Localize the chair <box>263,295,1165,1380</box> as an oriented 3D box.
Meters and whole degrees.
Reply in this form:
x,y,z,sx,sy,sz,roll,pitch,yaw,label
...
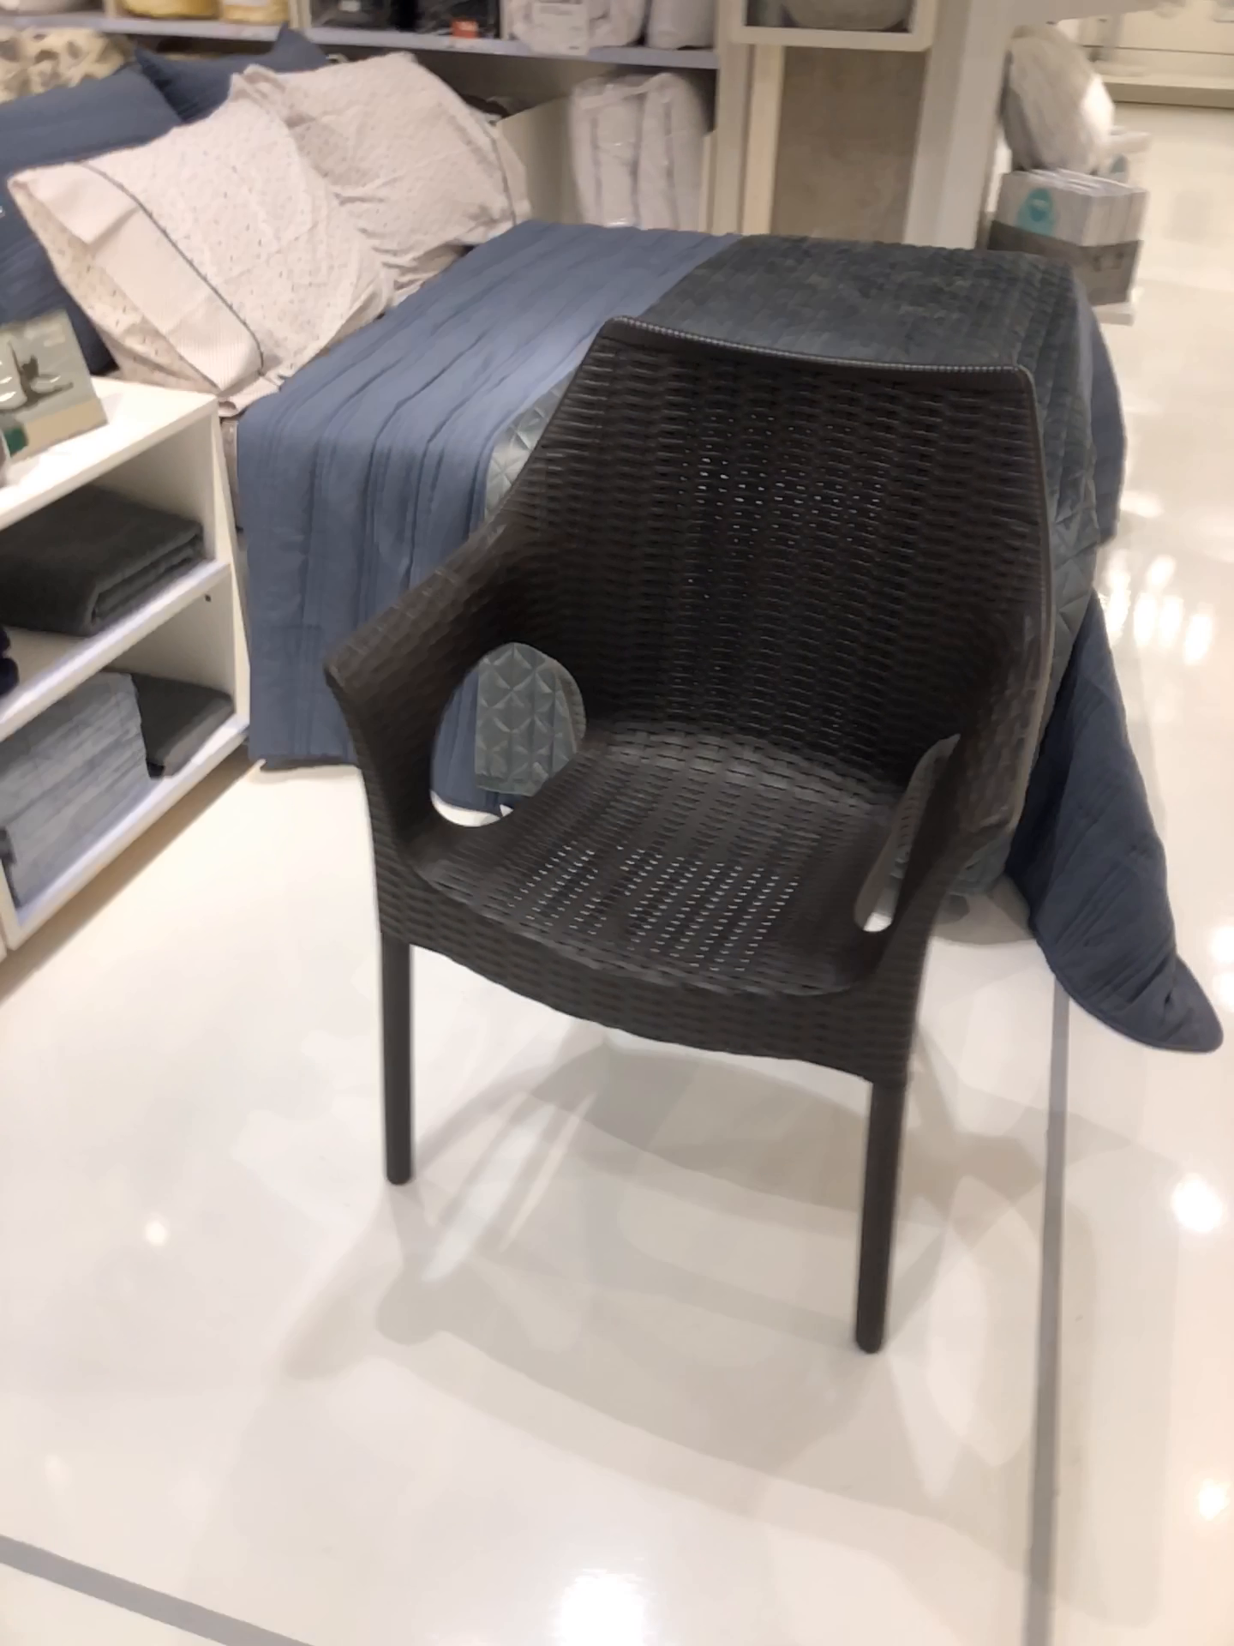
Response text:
x,y,z,sx,sy,sz,roll,pitch,yaw,label
0.117,-0.024,1.332,0.591,0.764,0.574,14,36,18,chair
